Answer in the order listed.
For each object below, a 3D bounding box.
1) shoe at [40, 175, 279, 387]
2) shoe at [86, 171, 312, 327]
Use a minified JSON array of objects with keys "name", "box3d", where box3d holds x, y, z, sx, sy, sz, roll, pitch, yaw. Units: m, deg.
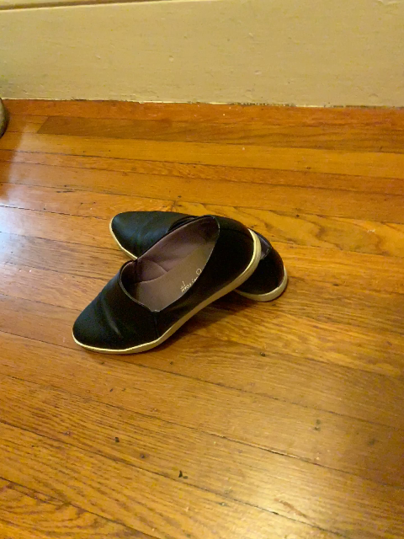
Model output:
[{"name":"shoe","box3d":[-0.057,0.022,0.454,0.250,0.080,0.100,-32,52,17]},{"name":"shoe","box3d":[-0.005,-0.034,0.526,0.261,0.080,0.100,20,63,24]}]
